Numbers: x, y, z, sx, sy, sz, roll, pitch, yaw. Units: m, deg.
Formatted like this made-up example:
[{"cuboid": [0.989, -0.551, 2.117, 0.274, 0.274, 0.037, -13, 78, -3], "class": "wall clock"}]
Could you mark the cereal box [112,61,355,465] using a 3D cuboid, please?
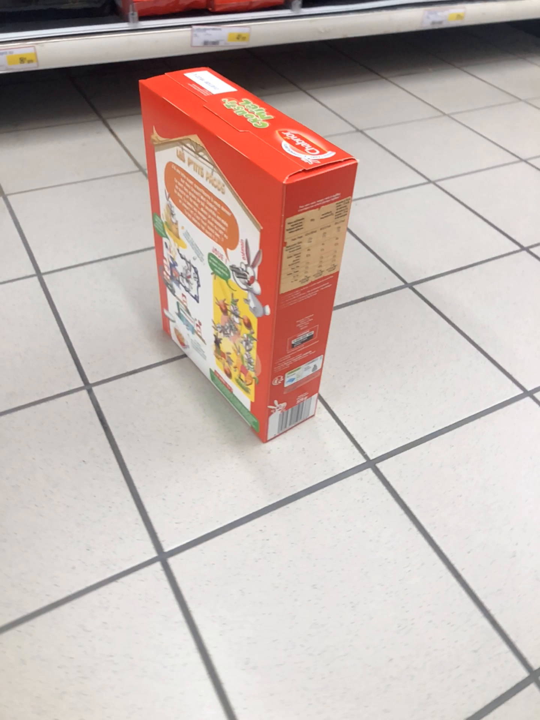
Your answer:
[{"cuboid": [-0.041, -0.076, 0.506, 0.070, 0.268, 0.200, -25, 51, -27], "class": "cereal box"}]
